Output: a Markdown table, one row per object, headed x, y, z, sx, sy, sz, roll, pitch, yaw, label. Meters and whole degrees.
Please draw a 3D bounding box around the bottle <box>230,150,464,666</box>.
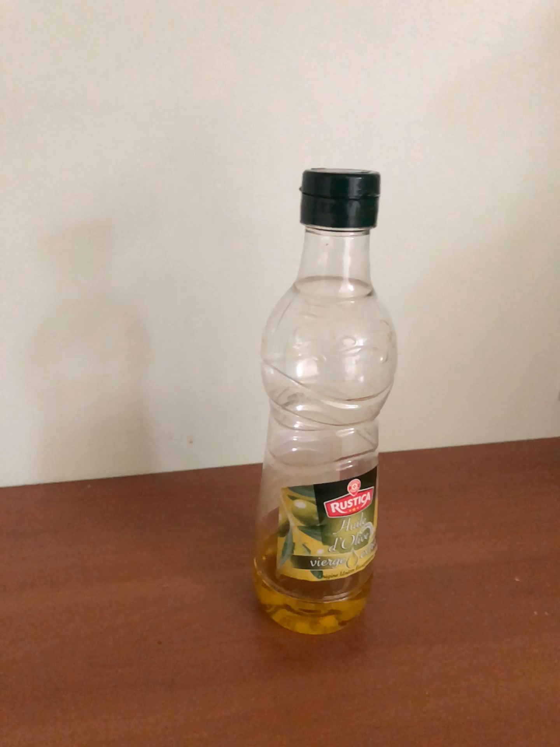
| x | y | z | sx | sy | sz | roll | pitch | yaw | label |
| --- | --- | --- | --- | --- | --- | --- | --- | --- | --- |
| 0.023 | 0.018 | 0.311 | 0.070 | 0.239 | 0.070 | 2 | 22 | -1 | bottle |
